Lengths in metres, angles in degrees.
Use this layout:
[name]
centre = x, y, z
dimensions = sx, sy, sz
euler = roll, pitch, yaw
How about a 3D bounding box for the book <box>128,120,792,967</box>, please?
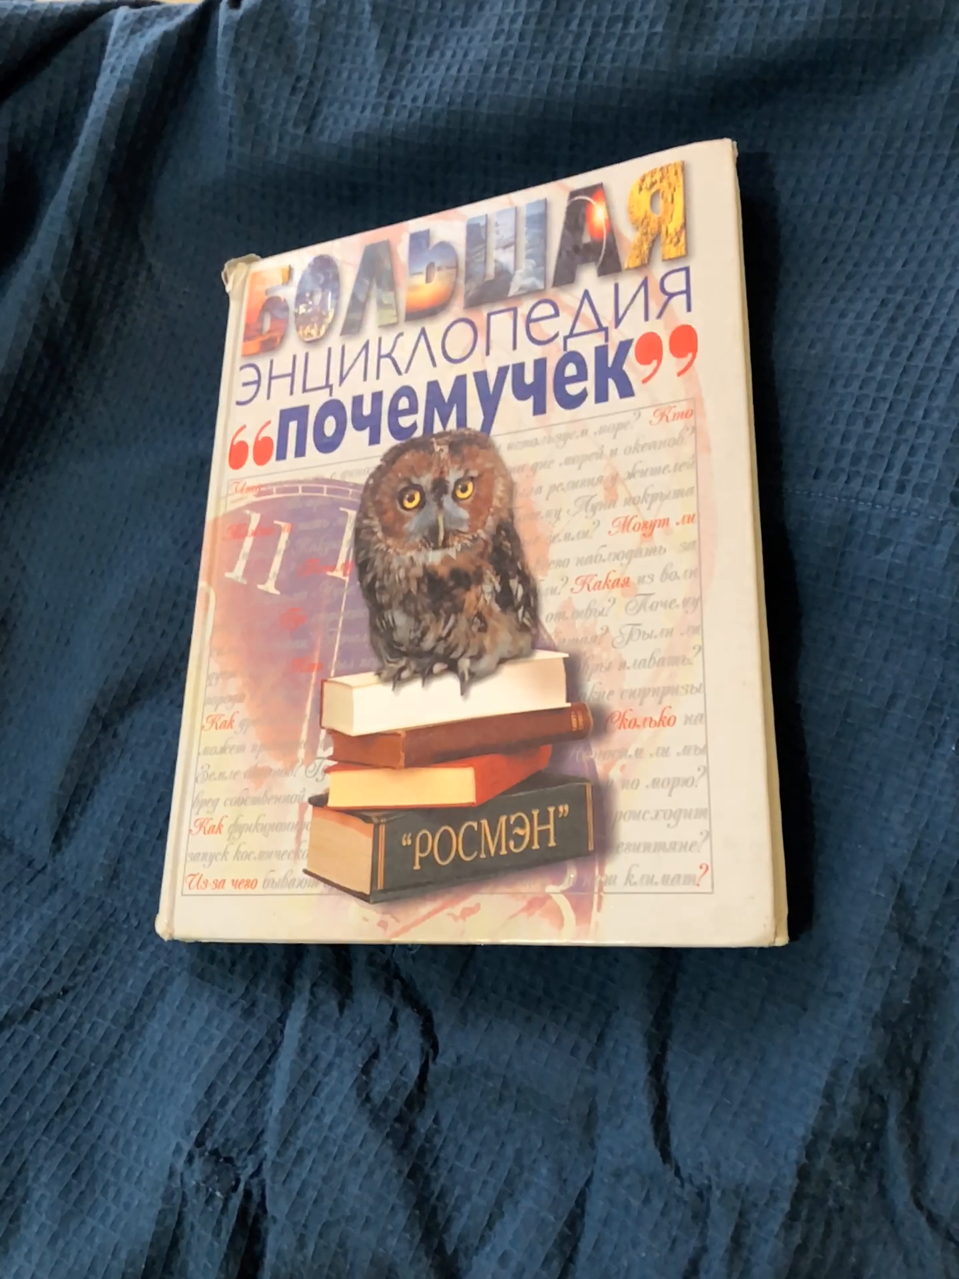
[book]
centre = -0.012, -0.036, 0.409
dimensions = 0.235, 0.030, 0.305
euler = -6, 71, 22
